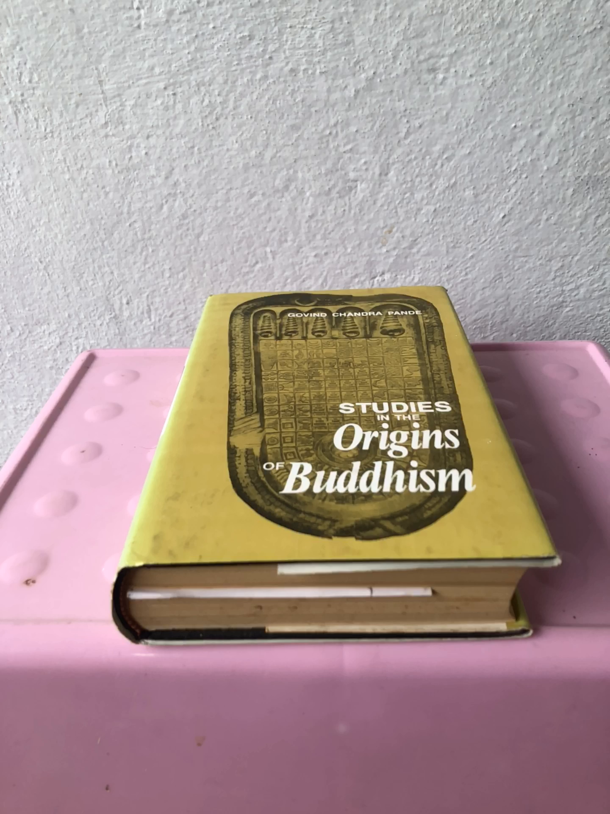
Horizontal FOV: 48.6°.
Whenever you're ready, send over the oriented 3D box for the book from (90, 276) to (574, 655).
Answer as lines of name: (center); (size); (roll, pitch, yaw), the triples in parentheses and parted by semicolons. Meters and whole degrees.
book: (0.010, 0.003, 0.322); (0.150, 0.040, 0.241); (0, 33, 1)
